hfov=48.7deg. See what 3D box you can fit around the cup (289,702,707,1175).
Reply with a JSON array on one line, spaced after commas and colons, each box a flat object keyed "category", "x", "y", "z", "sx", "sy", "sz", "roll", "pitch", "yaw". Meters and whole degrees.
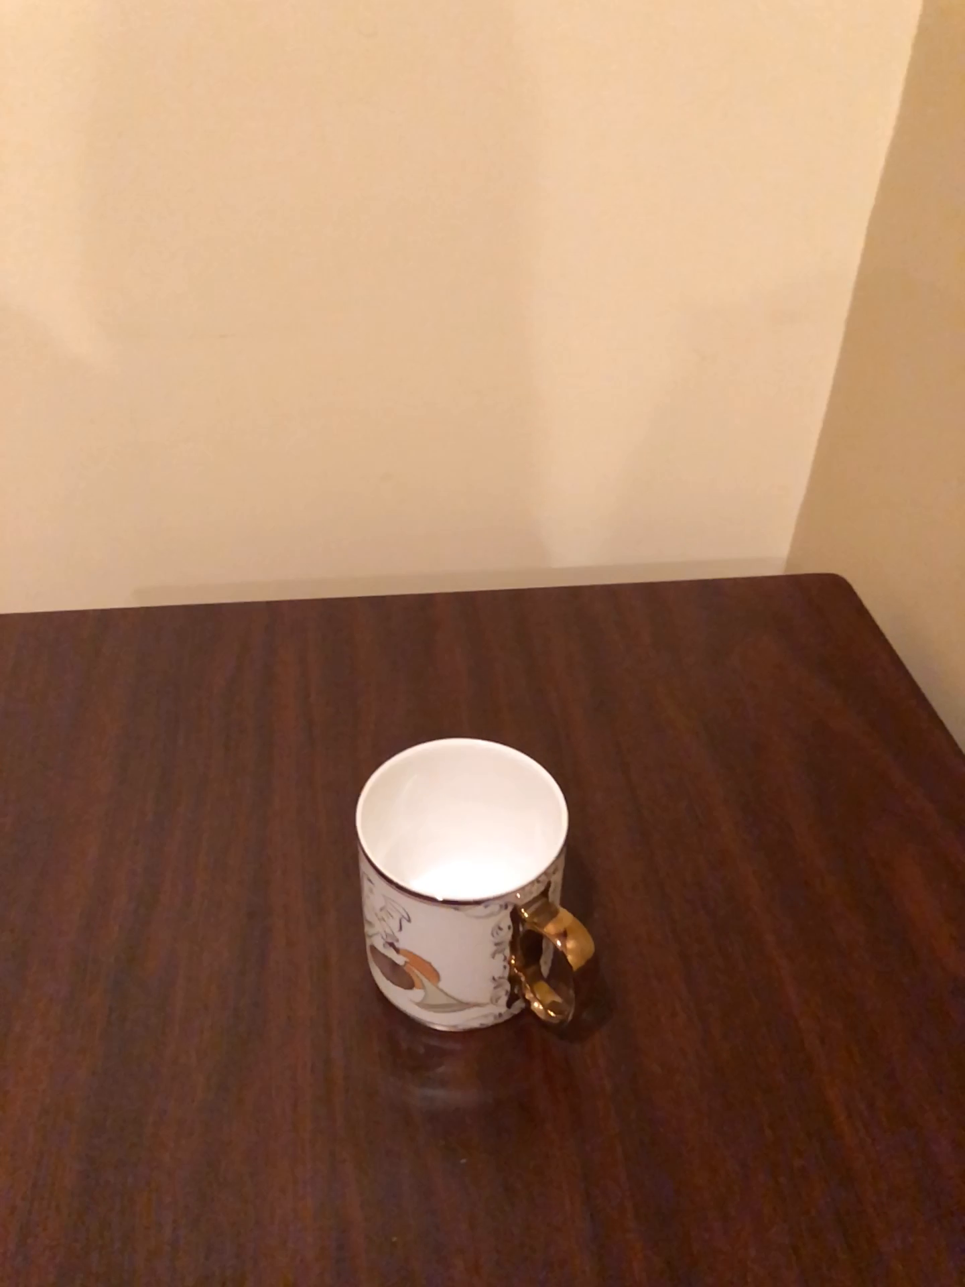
[{"category": "cup", "x": 0.002, "y": 0.120, "z": 0.463, "sx": 0.100, "sy": 0.100, "sz": 0.140, "roll": -29, "pitch": 48, "yaw": -33}]
